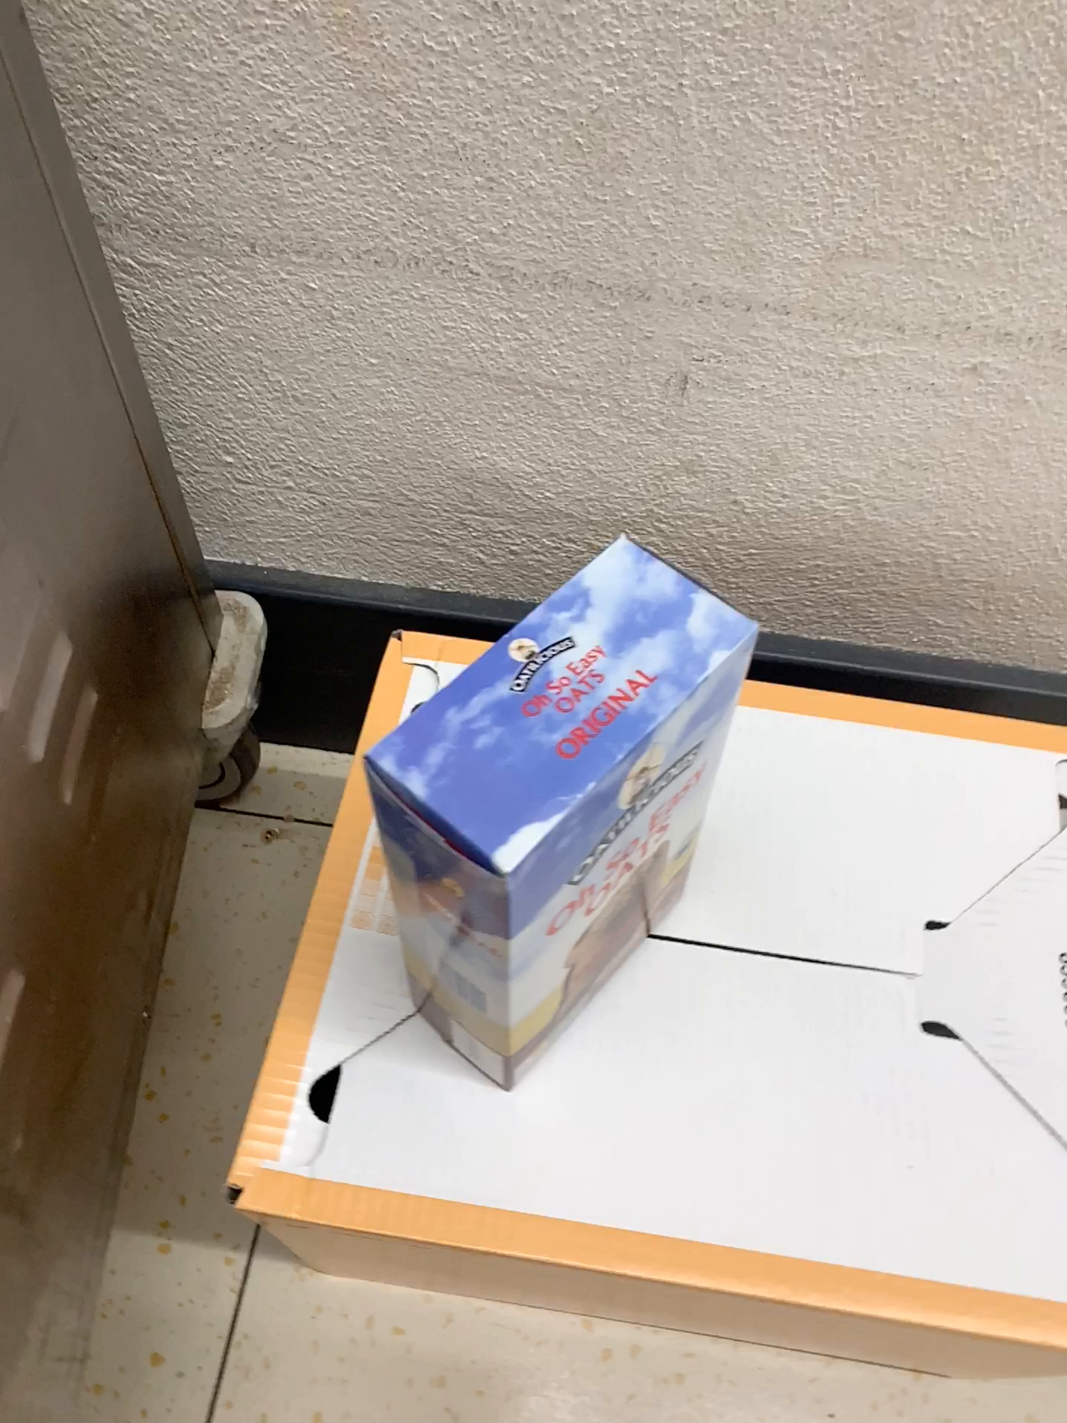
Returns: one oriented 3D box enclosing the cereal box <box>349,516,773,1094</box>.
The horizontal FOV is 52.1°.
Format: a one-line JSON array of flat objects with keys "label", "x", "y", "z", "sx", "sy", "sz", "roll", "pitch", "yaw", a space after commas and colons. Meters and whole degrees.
[{"label": "cereal box", "x": 0.010, "y": 0.050, "z": 0.428, "sx": 0.060, "sy": 0.219, "sz": 0.131, "roll": 37, "pitch": 63, "yaw": 21}]
